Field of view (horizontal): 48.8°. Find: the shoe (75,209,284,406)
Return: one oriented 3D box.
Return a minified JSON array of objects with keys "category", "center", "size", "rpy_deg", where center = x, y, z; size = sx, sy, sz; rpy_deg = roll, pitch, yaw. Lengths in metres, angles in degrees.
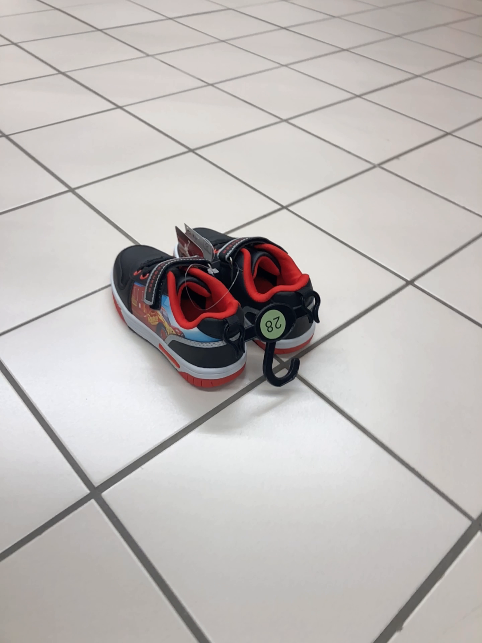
[{"category":"shoe","center":[-0.065,-0.025,0.507],"size":[0.094,0.053,0.207],"rpy_deg":[-26,50,-29]}]

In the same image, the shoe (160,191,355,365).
[{"category":"shoe","center":[0.008,-0.054,0.542],"size":[0.080,0.053,0.209],"rpy_deg":[-26,50,-29]}]
